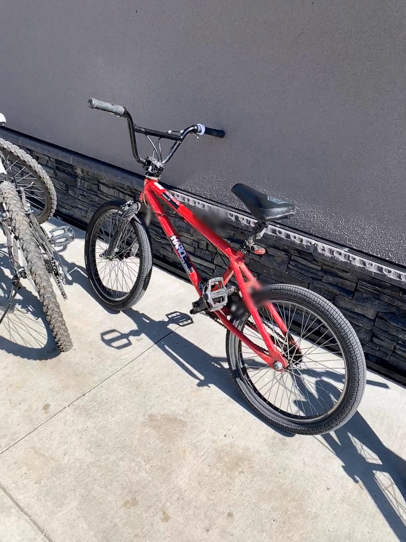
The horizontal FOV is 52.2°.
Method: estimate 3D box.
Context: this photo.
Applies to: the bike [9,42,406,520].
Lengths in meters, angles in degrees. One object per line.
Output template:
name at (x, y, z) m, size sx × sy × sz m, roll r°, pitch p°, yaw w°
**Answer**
bike at (0.042, -0.153, 1.510) m, size 1.315 × 0.908 × 0.775 m, roll 32°, pitch 36°, yaw 32°
